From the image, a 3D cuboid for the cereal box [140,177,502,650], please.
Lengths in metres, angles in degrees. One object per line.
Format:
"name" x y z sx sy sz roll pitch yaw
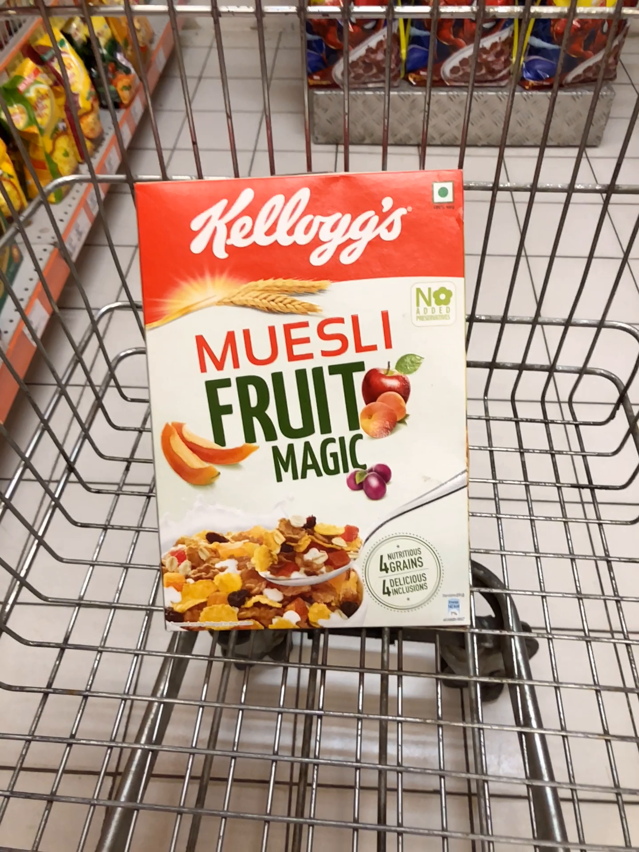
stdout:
"cereal box" 0.002 -0.007 0.444 0.200 0.270 0.080 -1 6 0
